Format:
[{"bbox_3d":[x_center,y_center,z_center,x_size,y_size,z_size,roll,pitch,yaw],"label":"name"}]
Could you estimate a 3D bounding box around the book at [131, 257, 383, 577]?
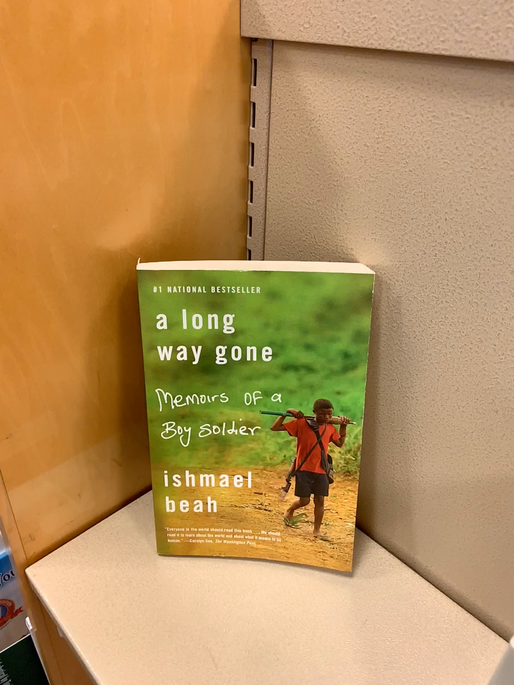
[{"bbox_3d":[-0.001,0.054,0.339,0.140,0.209,0.020,3,21,7],"label":"book"}]
